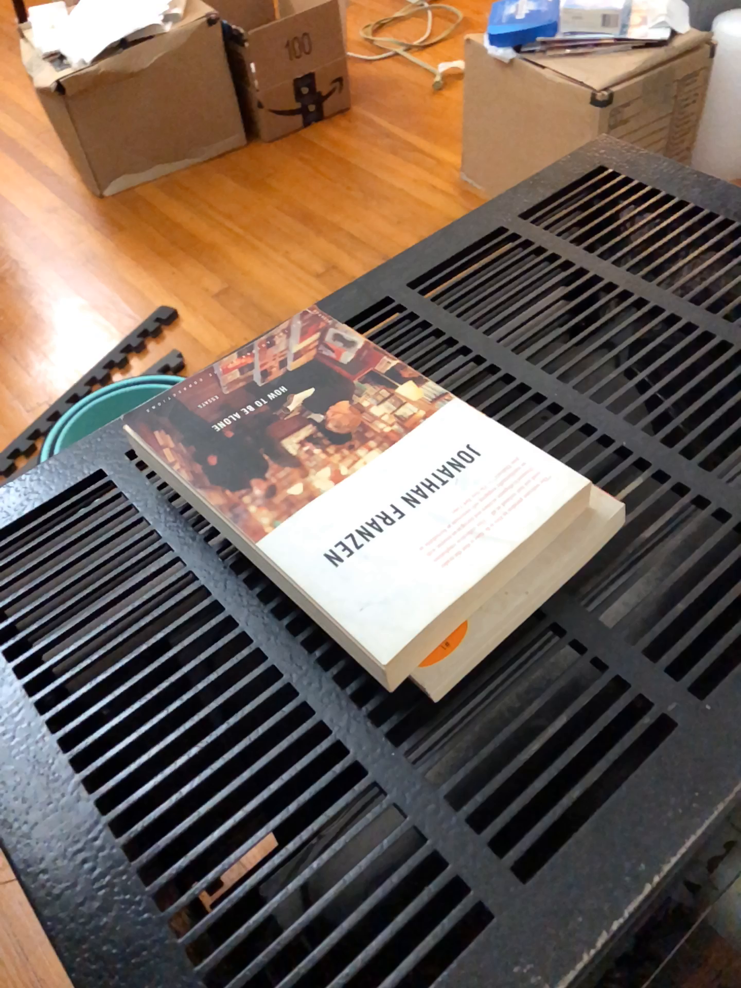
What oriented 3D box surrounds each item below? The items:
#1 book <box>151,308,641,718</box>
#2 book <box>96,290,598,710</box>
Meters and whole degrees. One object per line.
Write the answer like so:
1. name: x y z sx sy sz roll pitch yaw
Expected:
1. book: 0.007 -0.008 0.434 0.150 0.030 0.211 -38 57 -23
2. book: -0.018 -0.015 0.420 0.150 0.030 0.211 -38 57 -23
